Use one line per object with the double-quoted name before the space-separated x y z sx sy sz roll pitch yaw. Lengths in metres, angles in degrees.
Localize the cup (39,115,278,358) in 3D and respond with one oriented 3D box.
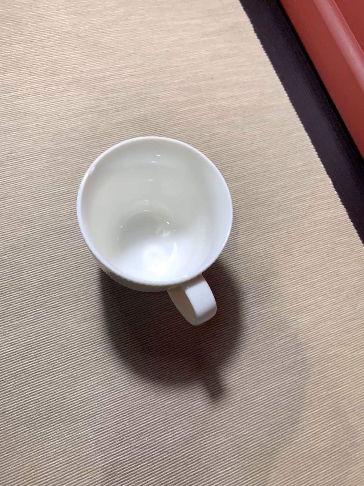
"cup" -0.017 -0.002 0.231 0.090 0.060 0.110 -24 78 -15
